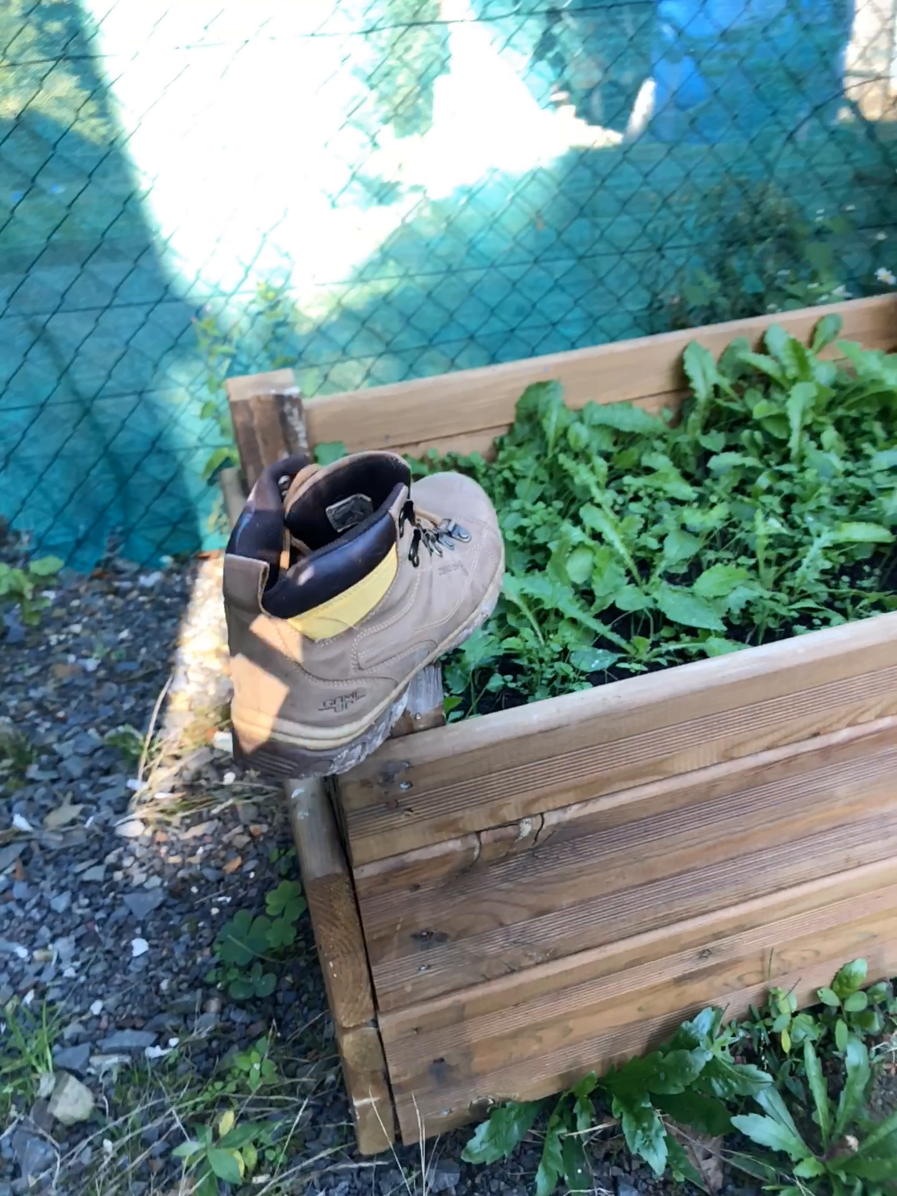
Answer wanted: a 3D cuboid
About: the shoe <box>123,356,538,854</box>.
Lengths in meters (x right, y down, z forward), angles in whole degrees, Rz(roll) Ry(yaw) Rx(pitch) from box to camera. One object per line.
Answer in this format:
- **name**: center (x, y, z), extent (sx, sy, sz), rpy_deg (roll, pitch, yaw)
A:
- **shoe**: center (-0.041, -0.018, 0.571), extent (0.100, 0.149, 0.282), rpy_deg (9, 35, 21)
